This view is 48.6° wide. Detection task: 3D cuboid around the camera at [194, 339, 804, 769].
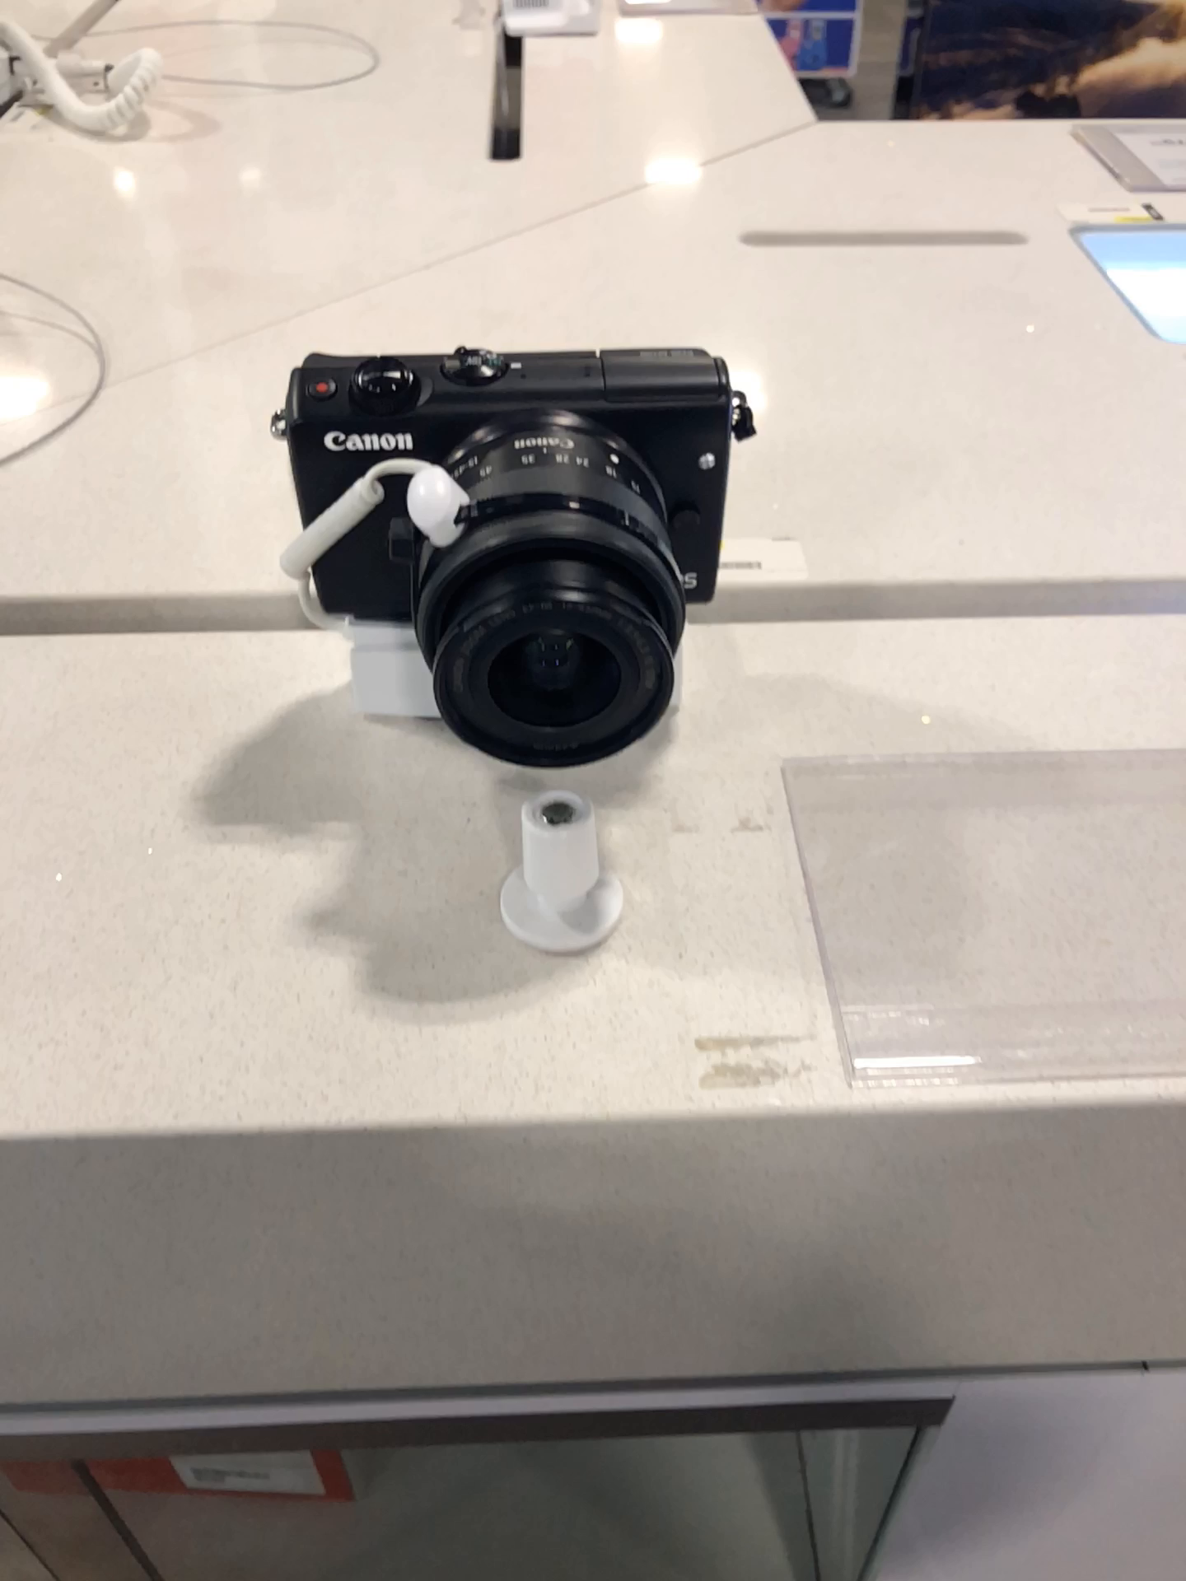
[{"bbox_3d":[-0.019,-0.058,0.312,0.120,0.060,0.091,-1,42,-1],"label":"camera"}]
